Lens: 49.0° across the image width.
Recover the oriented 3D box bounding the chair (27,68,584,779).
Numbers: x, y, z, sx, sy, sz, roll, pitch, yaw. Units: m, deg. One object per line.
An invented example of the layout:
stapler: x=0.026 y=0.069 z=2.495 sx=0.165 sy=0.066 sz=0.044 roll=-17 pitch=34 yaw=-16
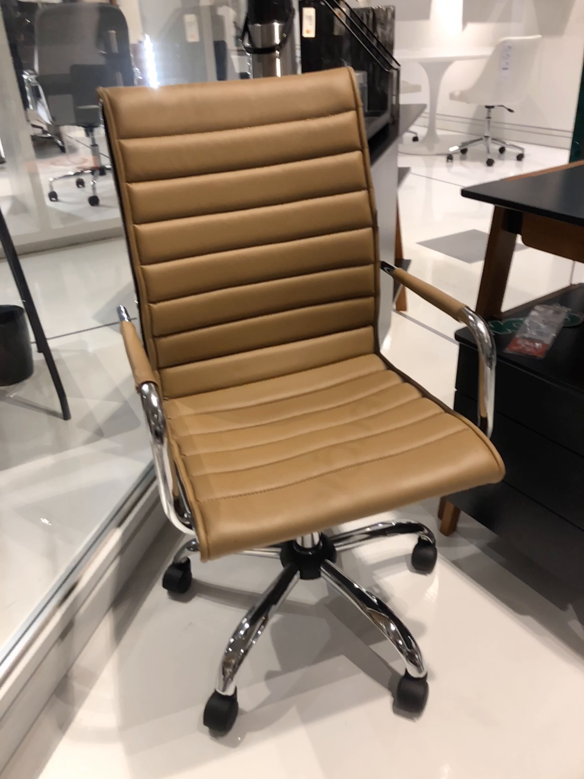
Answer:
chair: x=0.005 y=0.029 z=1.056 sx=0.600 sy=0.943 sz=0.614 roll=-12 pitch=30 yaw=-15
